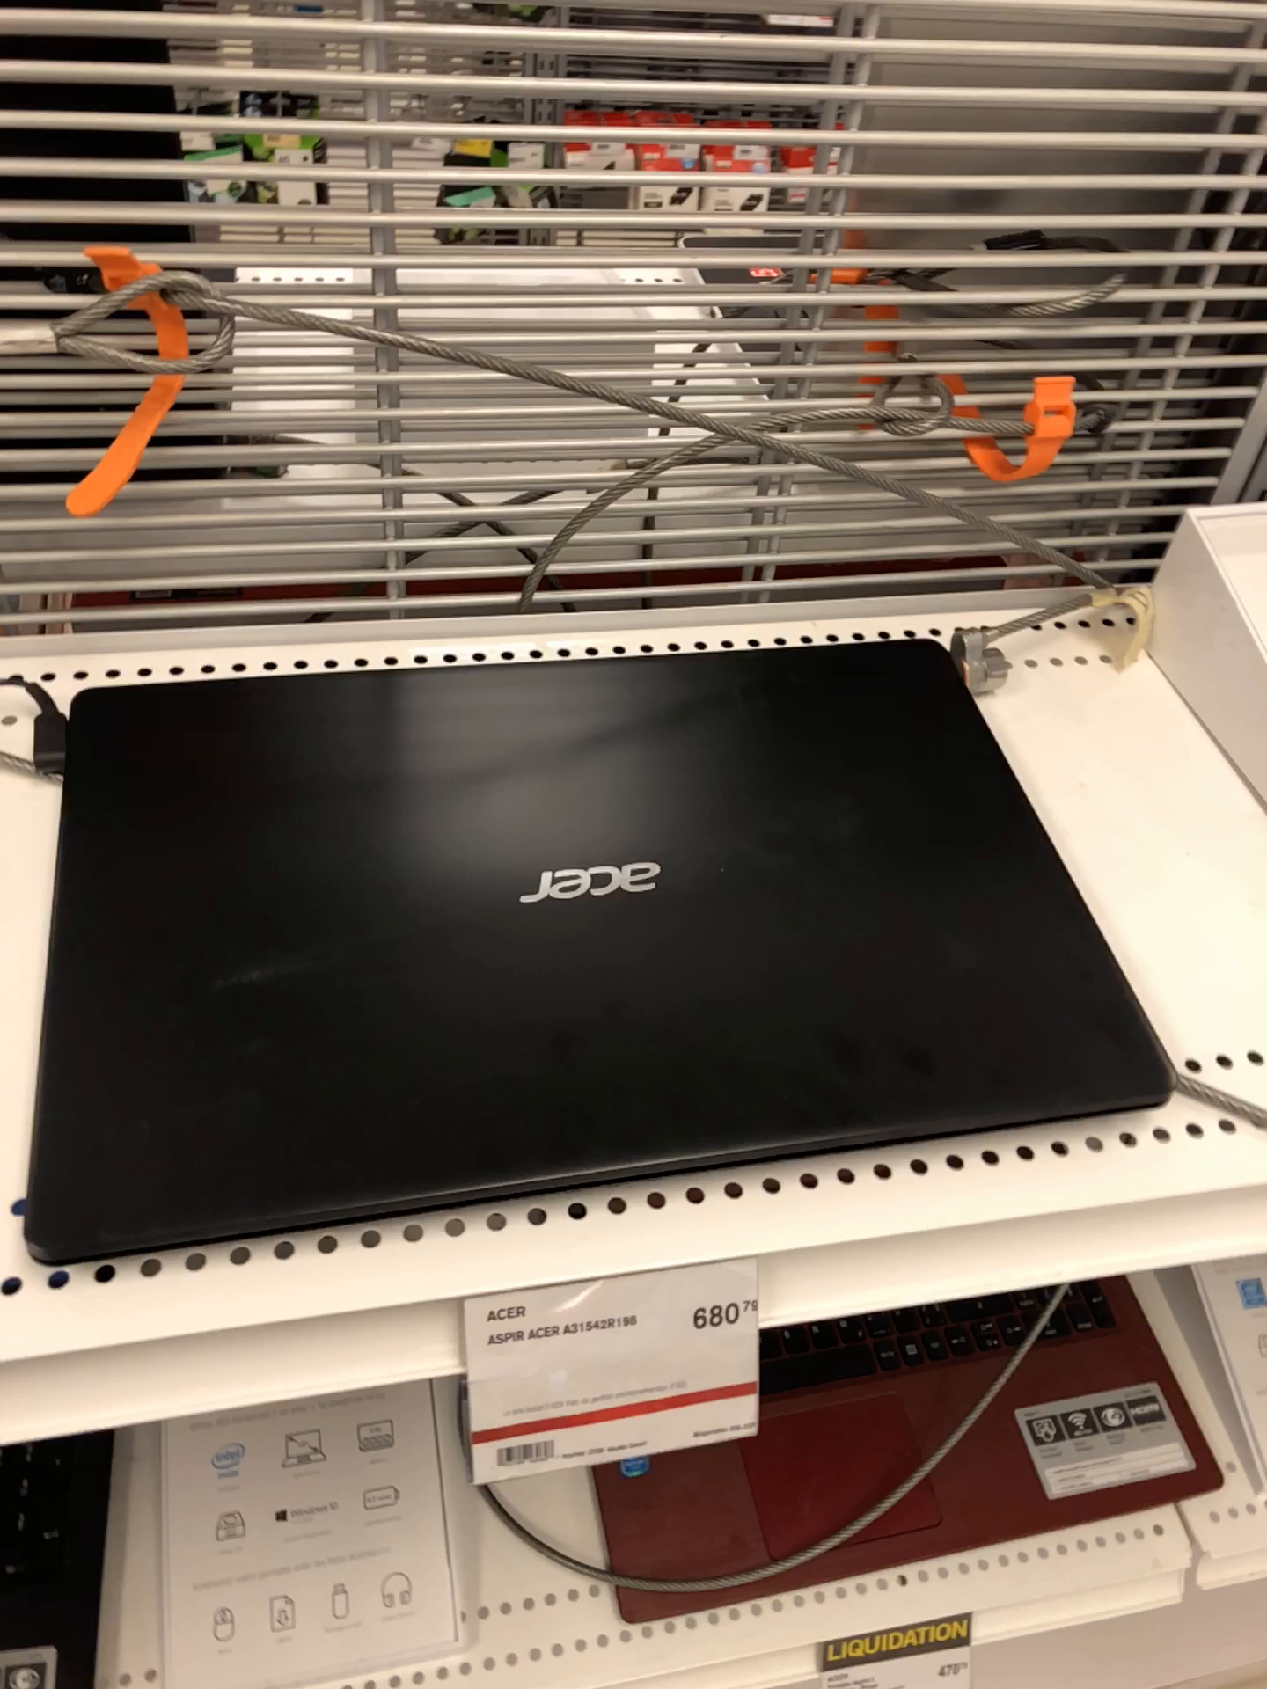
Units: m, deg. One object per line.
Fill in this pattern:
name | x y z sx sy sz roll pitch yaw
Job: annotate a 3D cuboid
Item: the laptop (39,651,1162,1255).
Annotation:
laptop | -0.017 0.015 0.509 0.355 0.006 0.232 -5 48 -13
